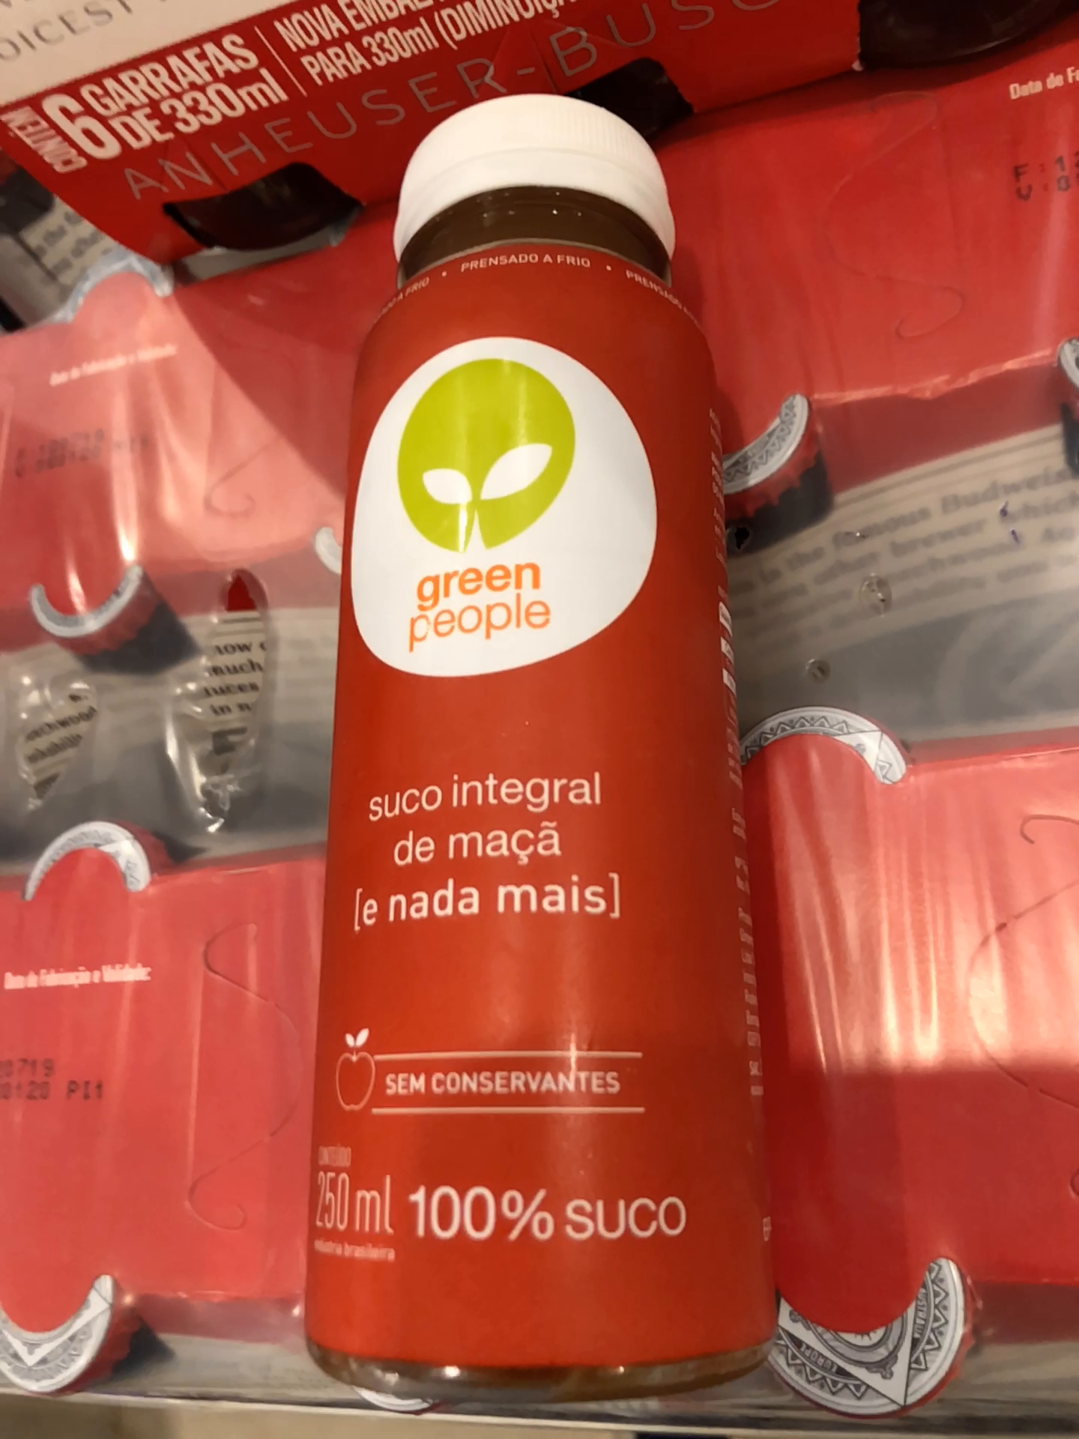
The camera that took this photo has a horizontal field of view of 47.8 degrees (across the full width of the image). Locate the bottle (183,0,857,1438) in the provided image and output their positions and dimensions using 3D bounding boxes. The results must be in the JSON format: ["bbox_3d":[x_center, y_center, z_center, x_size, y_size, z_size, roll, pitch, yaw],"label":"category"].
[{"bbox_3d":[0.001,-0.014,0.154,0.060,0.040,0.180,-6,72,21],"label":"bottle"}]
